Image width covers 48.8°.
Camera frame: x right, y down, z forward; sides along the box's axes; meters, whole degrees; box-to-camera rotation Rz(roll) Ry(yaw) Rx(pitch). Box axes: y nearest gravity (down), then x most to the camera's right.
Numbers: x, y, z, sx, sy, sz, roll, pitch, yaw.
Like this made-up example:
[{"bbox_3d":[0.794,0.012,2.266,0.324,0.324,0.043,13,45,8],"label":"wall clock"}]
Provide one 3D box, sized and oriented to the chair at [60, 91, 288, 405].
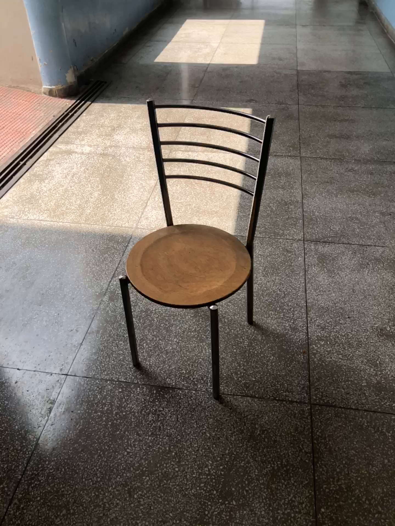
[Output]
[{"bbox_3d":[-0.031,-0.032,1.322,0.420,0.777,0.421,15,43,19],"label":"chair"}]
